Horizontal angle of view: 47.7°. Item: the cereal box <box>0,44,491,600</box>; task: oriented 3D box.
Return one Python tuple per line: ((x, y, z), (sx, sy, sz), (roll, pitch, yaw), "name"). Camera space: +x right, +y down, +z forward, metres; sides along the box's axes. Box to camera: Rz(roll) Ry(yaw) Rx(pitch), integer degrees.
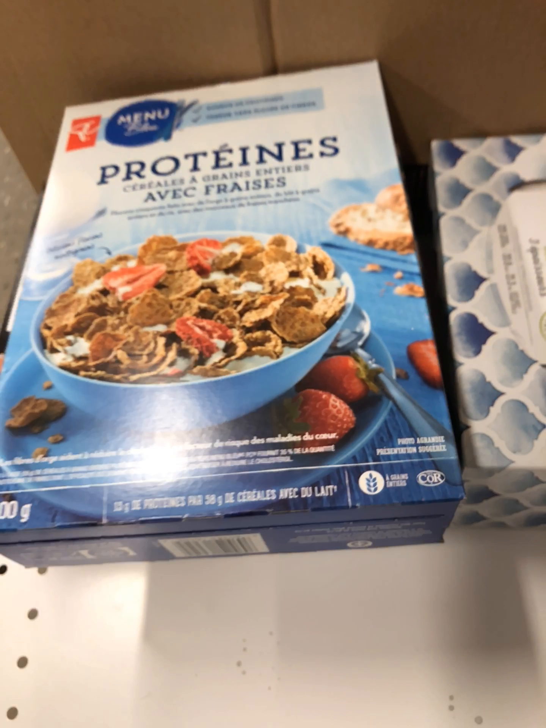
((-0.030, -0.035, 0.281), (0.190, 0.050, 0.250), (-6, 57, 7), "cereal box")
